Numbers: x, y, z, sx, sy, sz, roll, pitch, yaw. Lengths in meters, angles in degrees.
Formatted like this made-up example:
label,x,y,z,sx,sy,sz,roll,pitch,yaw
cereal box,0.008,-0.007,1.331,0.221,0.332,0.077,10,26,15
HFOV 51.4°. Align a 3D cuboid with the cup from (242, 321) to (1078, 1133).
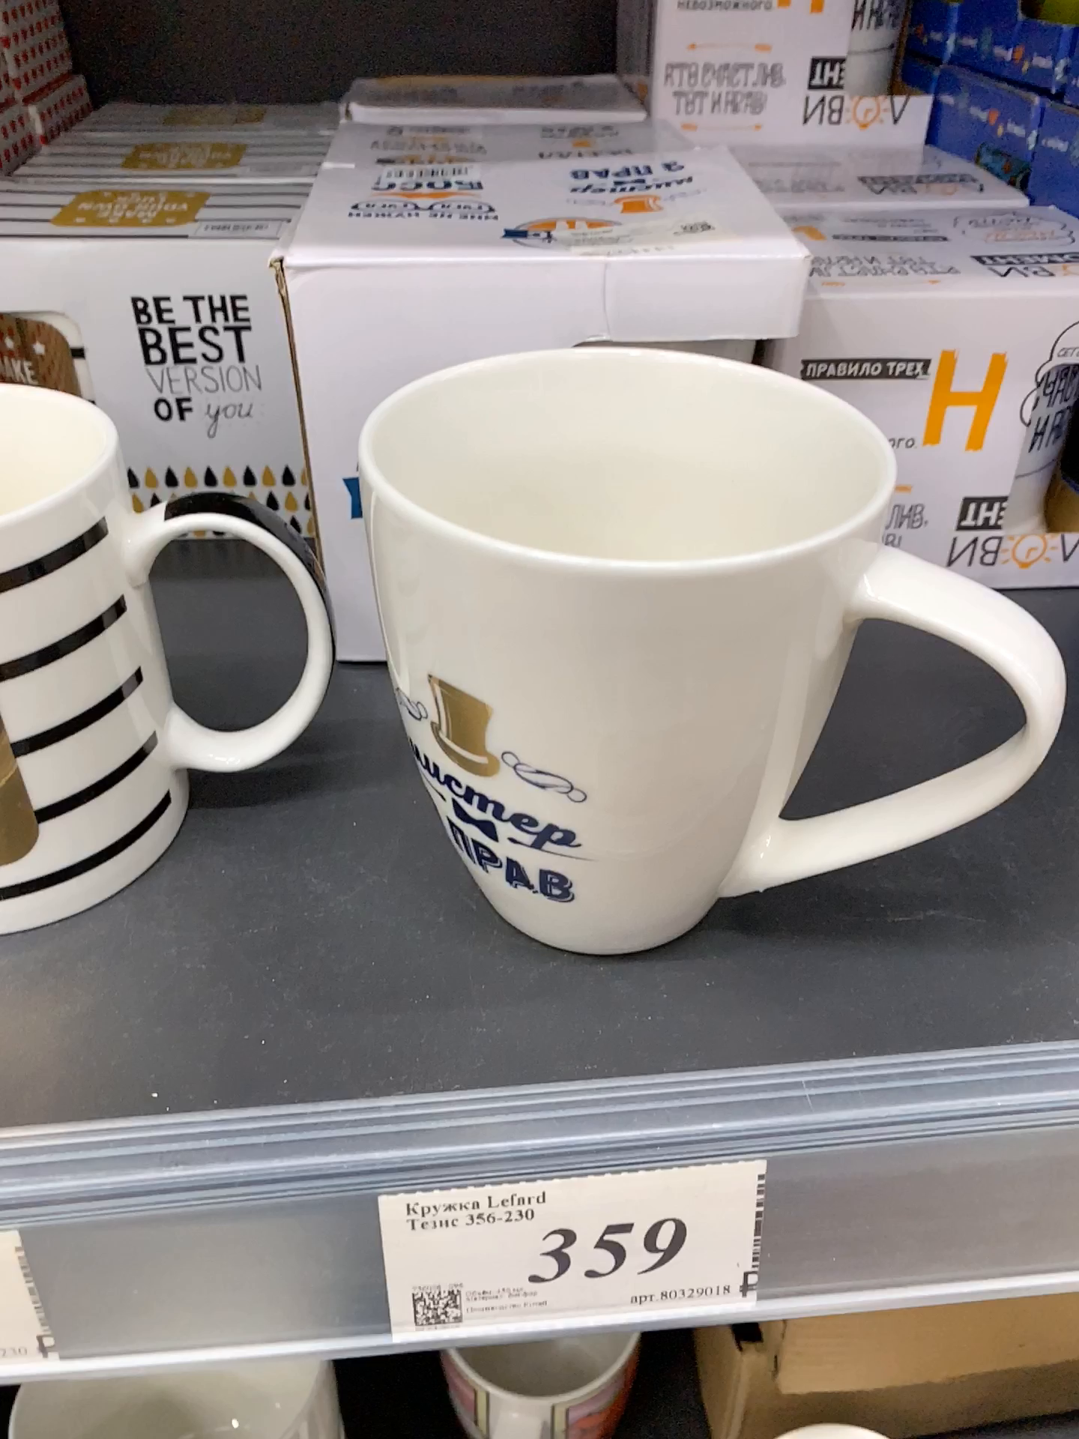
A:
label,x,y,z,sx,sy,sz,roll,pitch,yaw
cup,0.030,-0.009,0.223,0.132,0.093,0.094,18,40,22
